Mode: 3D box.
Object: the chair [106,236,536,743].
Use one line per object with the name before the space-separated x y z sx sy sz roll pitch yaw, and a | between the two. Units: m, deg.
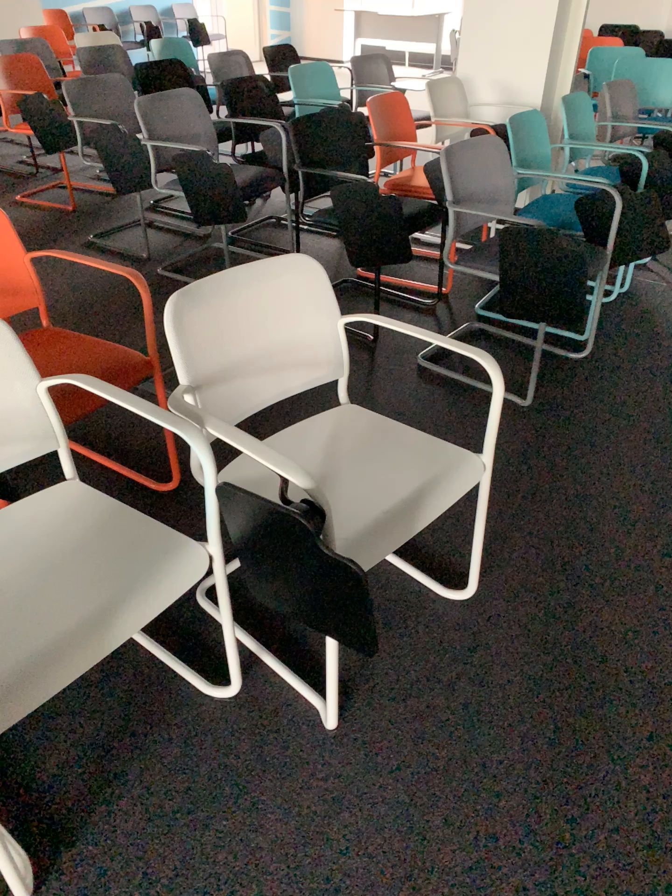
chair | -0.028 0.050 1.470 0.551 0.756 0.563 29 44 33
